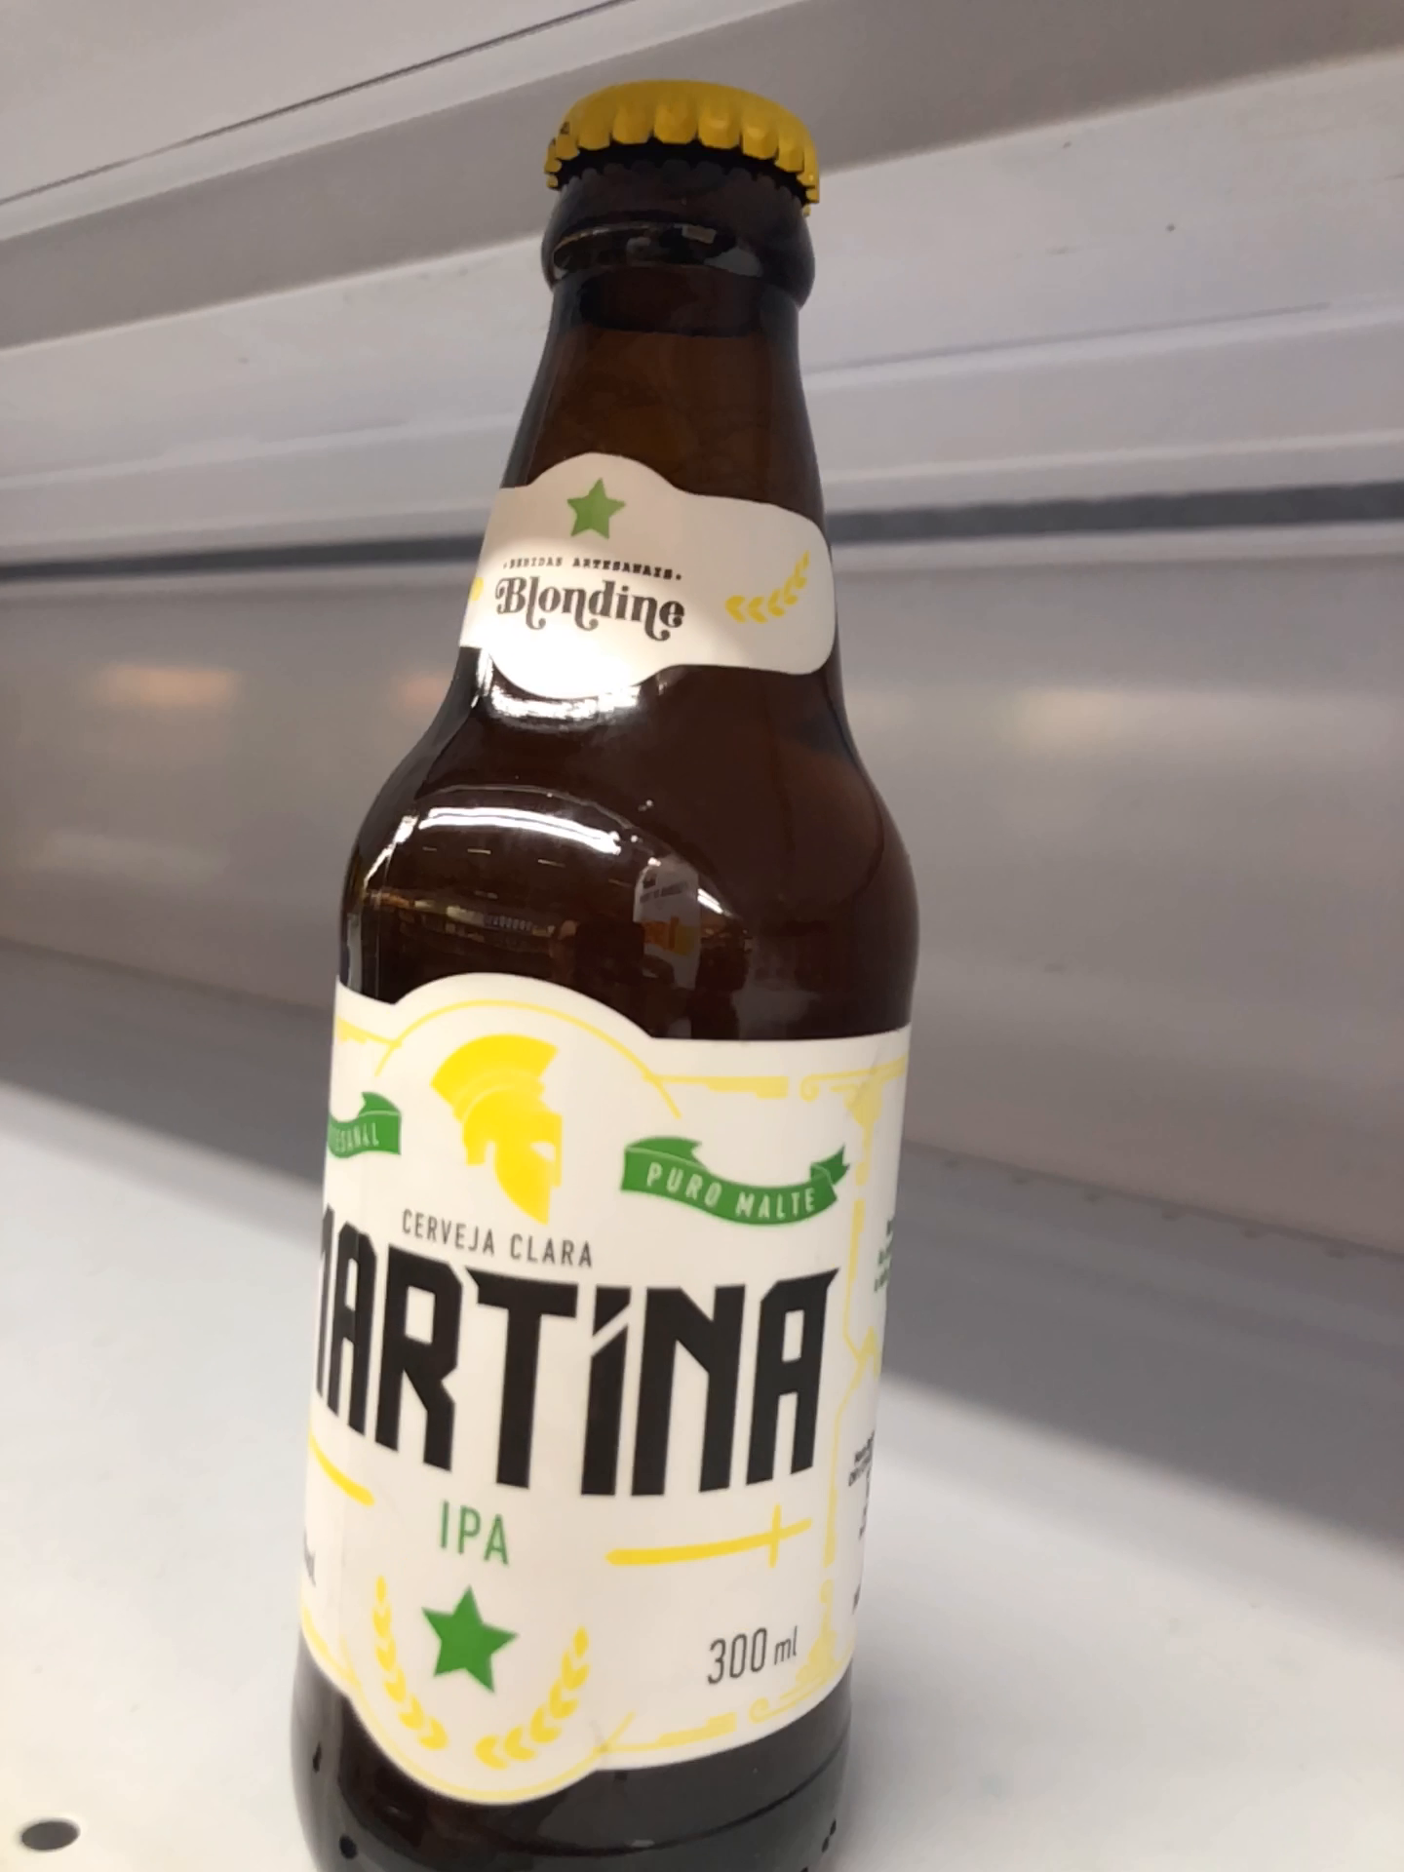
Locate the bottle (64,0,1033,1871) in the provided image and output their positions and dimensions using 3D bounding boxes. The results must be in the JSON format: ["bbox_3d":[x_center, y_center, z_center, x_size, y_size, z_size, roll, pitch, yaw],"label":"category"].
[{"bbox_3d":[-0.012,0.000,0.158,0.070,0.190,0.060,5,5,14],"label":"bottle"}]
